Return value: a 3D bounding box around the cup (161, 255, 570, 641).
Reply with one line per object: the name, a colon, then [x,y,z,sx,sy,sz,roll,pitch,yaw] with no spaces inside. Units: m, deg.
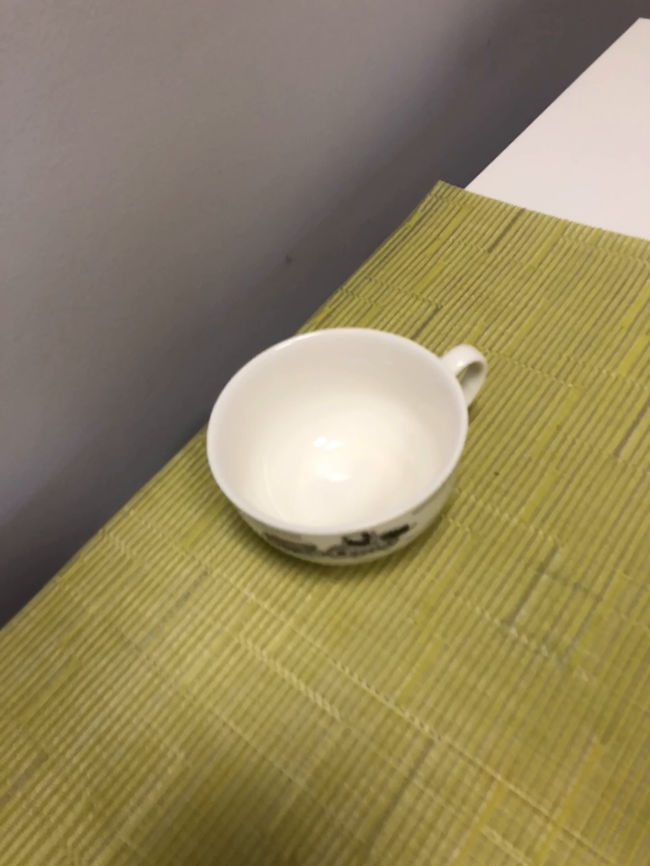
cup: [0.016,0.000,0.272,0.113,0.051,0.089,-36,55,-16]
